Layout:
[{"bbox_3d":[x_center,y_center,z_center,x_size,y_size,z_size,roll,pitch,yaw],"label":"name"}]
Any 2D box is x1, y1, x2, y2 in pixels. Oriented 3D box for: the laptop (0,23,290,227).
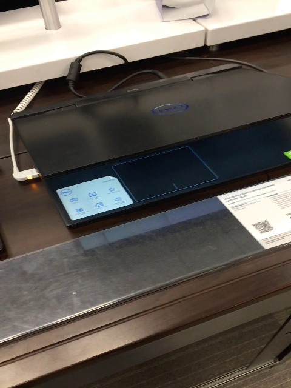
[{"bbox_3d":[0.032,-0.119,0.535,0.395,0.092,0.238,-19,51,-16],"label":"laptop"}]
